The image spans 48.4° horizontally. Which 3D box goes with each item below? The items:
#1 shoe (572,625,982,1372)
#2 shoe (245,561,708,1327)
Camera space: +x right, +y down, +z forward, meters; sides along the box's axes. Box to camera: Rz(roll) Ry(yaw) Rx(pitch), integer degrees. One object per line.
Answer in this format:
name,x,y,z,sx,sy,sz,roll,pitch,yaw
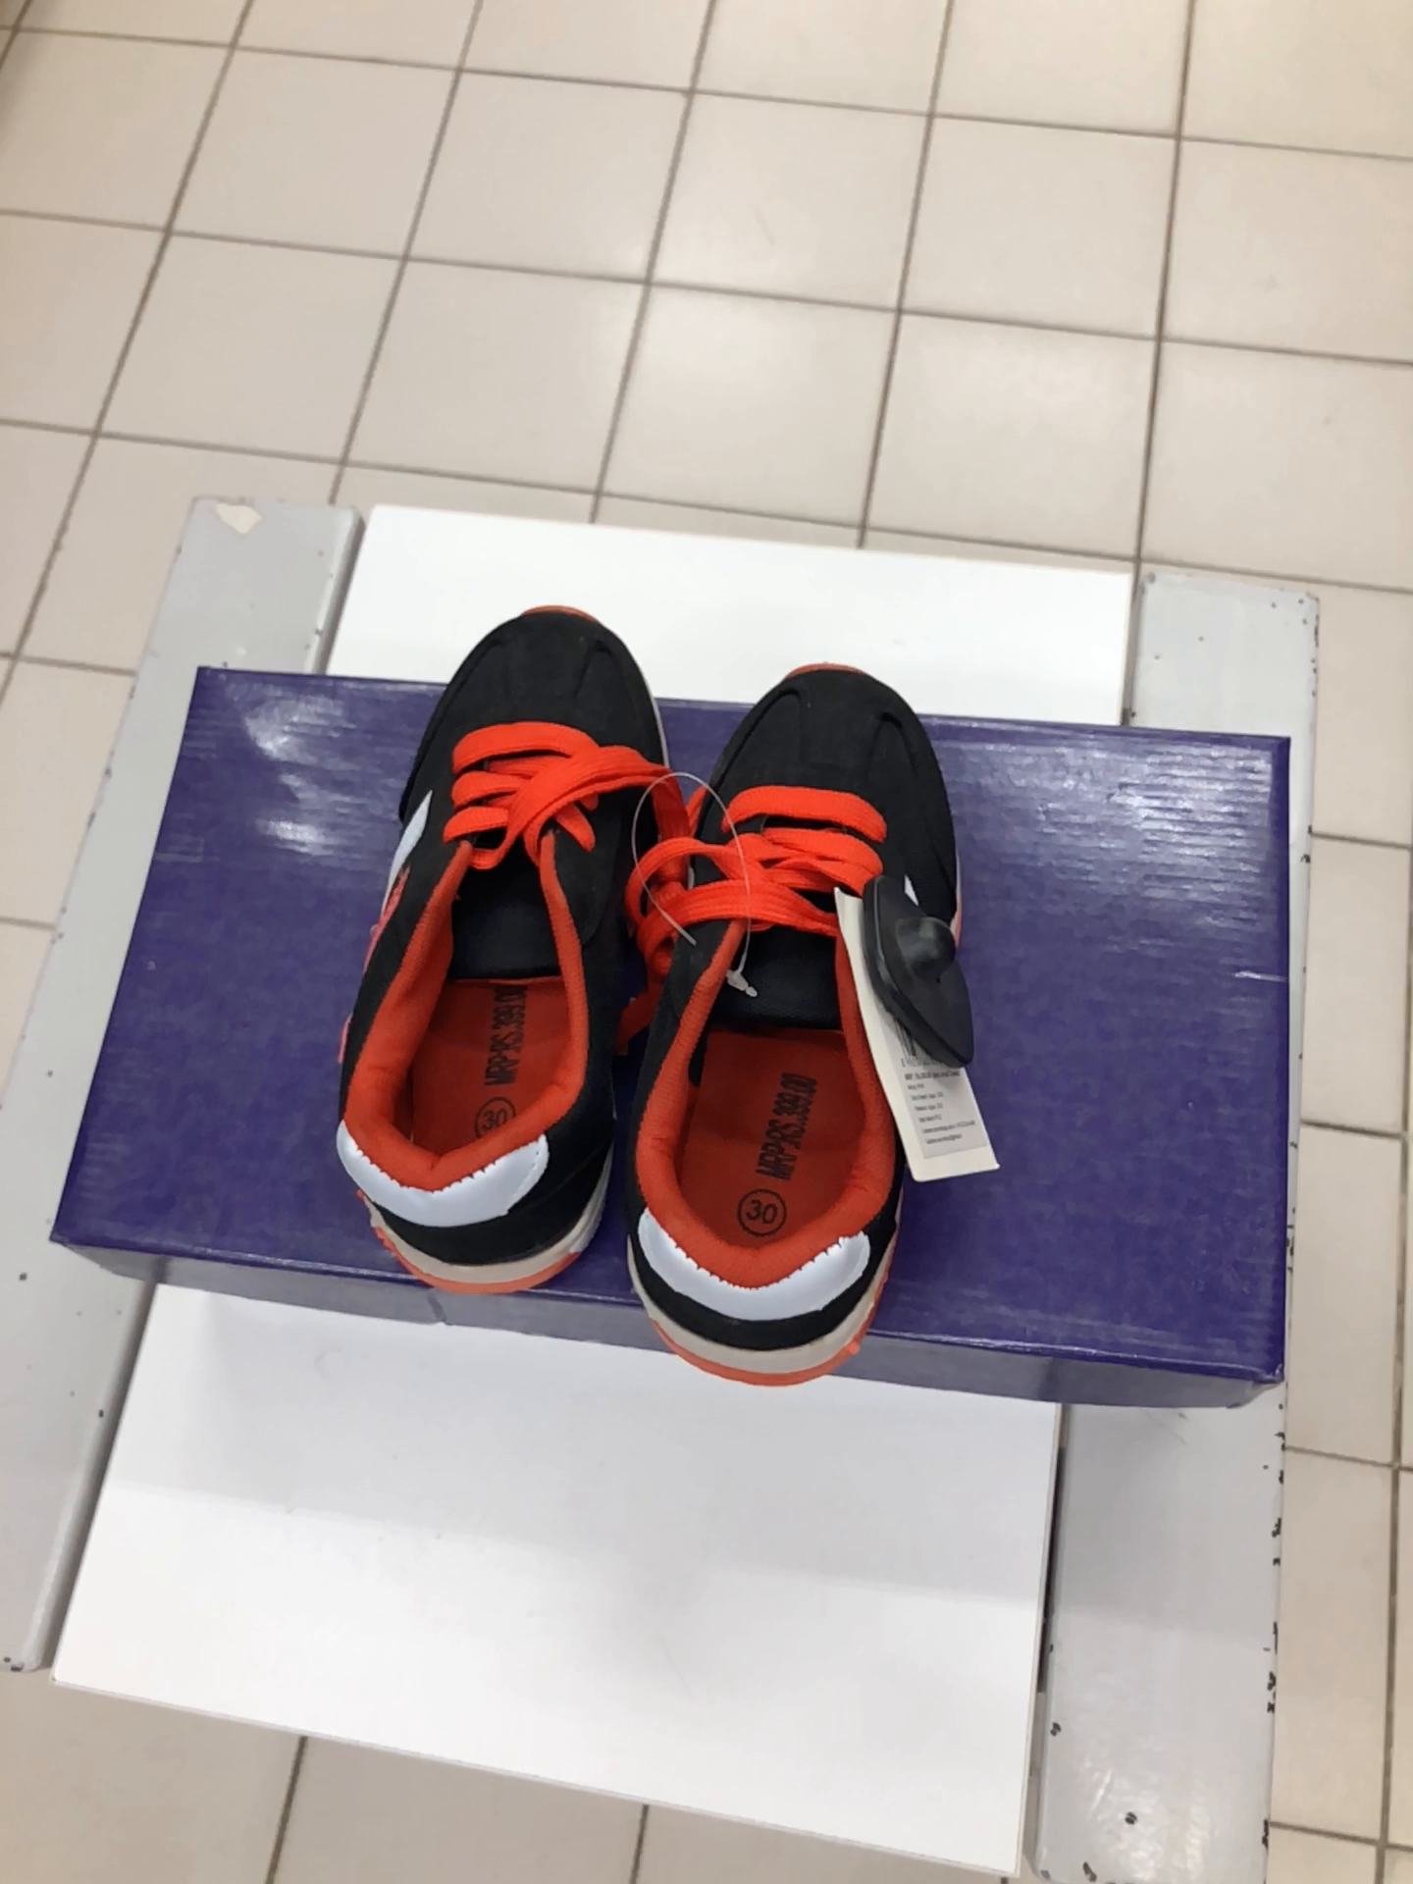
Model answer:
shoe,0.022,0.019,0.419,0.080,0.100,0.170,6,70,5
shoe,-0.052,0.004,0.431,0.080,0.100,0.180,6,70,5
